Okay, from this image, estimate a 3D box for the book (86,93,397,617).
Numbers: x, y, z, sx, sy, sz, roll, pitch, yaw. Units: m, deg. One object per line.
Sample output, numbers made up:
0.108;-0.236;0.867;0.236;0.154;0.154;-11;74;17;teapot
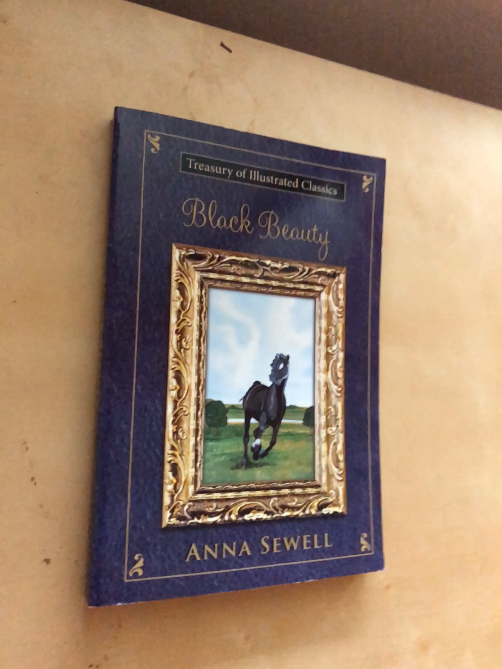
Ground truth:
0.002;0.007;0.239;0.126;0.025;0.193;4;82;-22;book
